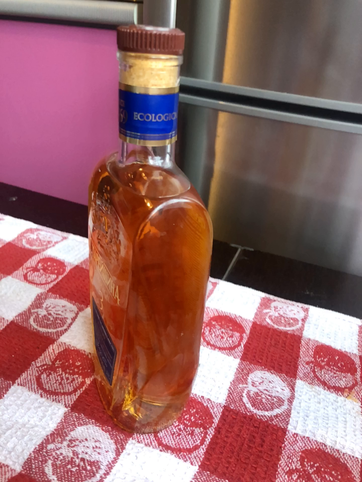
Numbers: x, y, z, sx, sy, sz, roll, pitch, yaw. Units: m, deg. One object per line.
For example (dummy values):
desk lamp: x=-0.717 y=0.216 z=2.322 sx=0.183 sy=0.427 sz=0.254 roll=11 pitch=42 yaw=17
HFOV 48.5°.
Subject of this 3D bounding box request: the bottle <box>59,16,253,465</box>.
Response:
bottle: x=-0.027 y=0.003 z=0.227 sx=0.050 sy=0.219 sz=0.111 roll=-8 pitch=32 yaw=-21
